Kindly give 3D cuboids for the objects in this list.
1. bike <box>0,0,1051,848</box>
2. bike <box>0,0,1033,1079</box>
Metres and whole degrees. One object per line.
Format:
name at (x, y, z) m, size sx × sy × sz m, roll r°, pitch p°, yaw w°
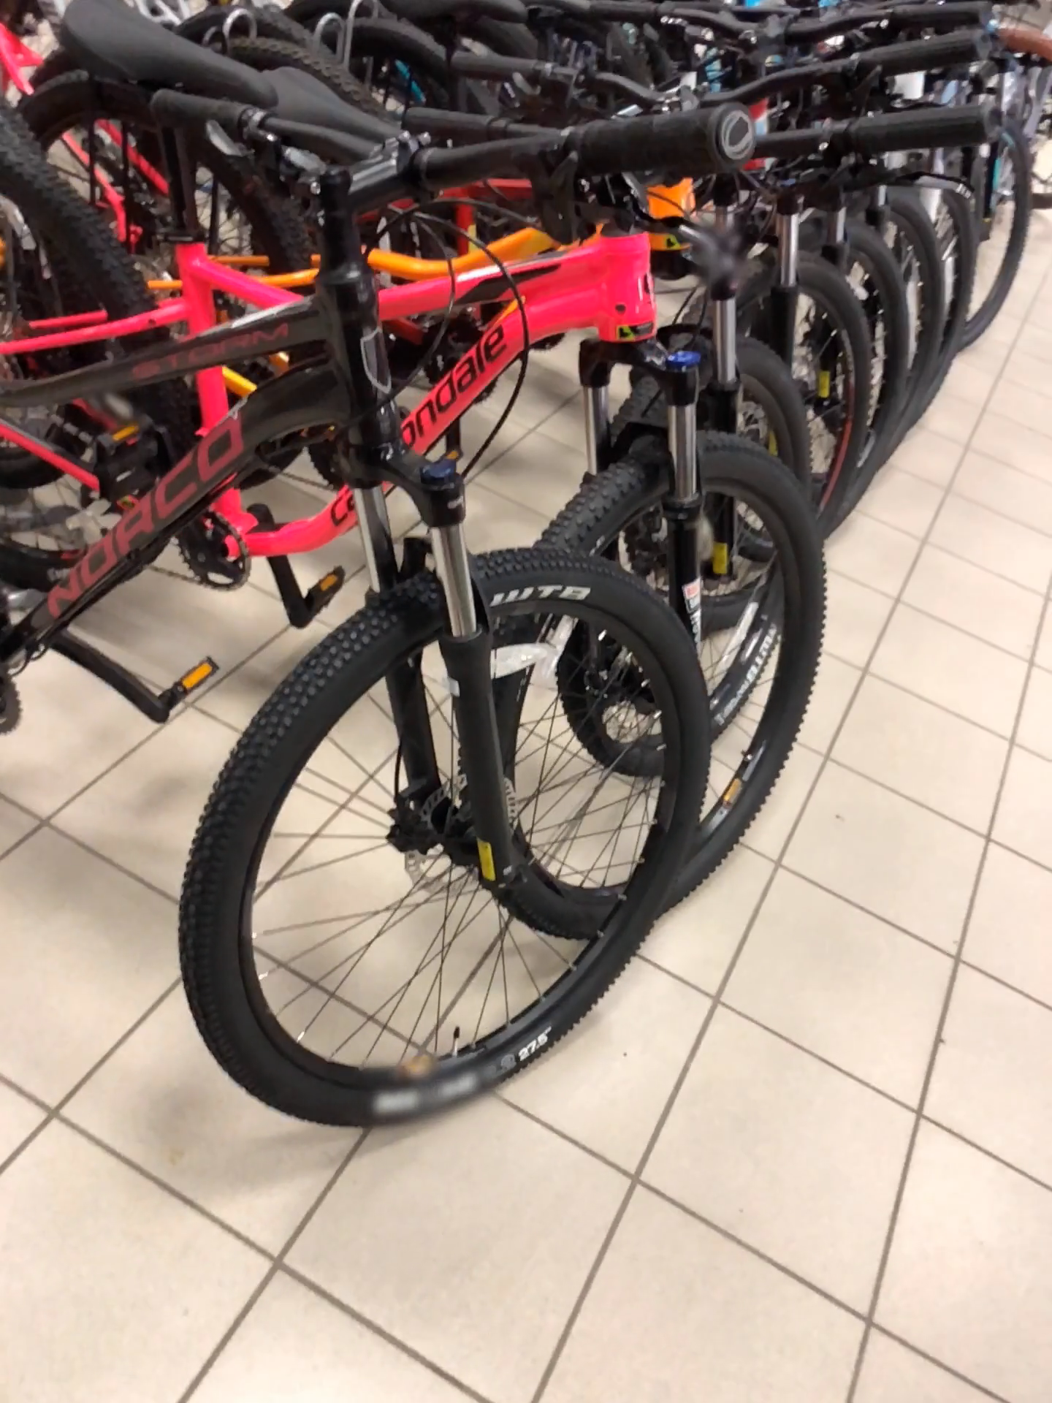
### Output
bike at (-0.236, -0.571, 1.684) m, size 1.564 × 1.073 × 0.657 m, roll 19°, pitch 40°, yaw 4°
bike at (-0.446, -0.348, 1.413) m, size 1.579 × 1.100 × 0.689 m, roll 21°, pitch 40°, yaw 1°
